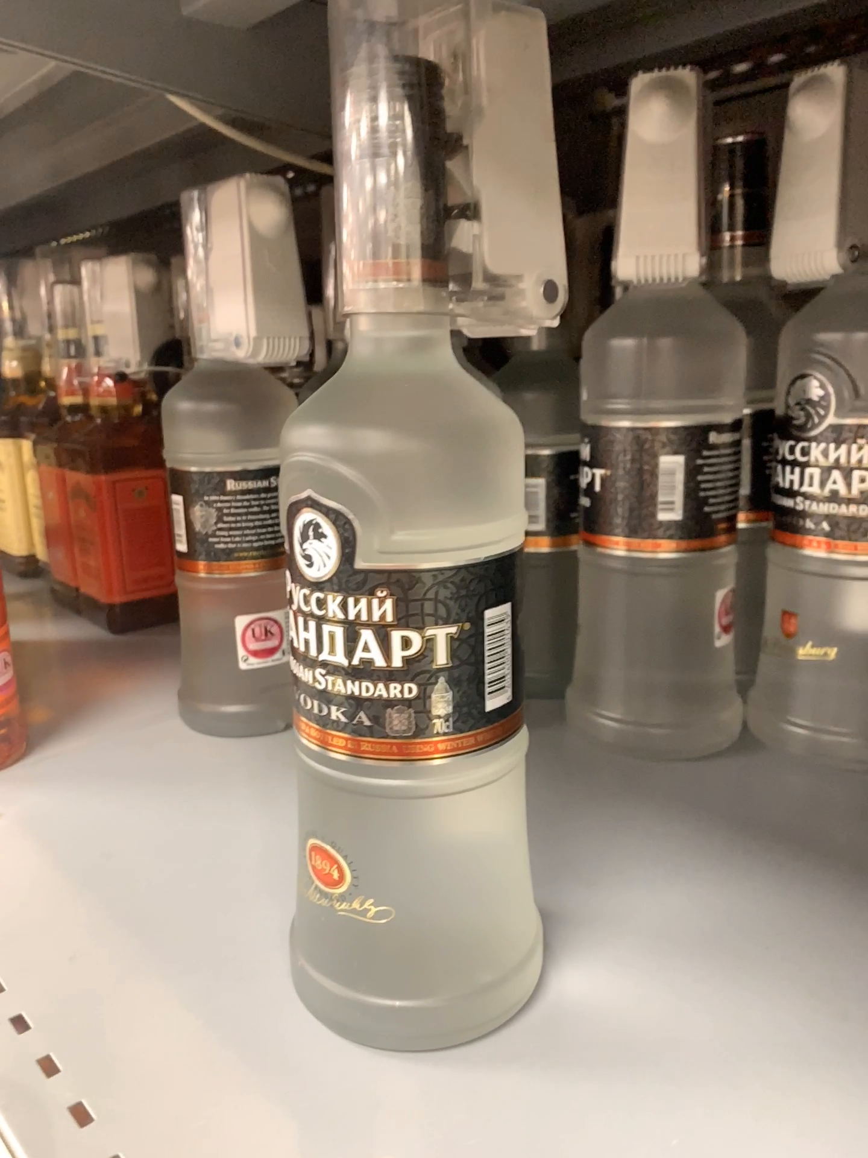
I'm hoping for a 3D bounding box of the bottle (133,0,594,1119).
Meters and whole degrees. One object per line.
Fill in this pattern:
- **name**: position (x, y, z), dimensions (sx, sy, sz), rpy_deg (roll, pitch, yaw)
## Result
- **bottle**: position (-0.017, -0.010, 0.275), dimensions (0.088, 0.289, 0.092), rpy_deg (-2, 12, 0)
